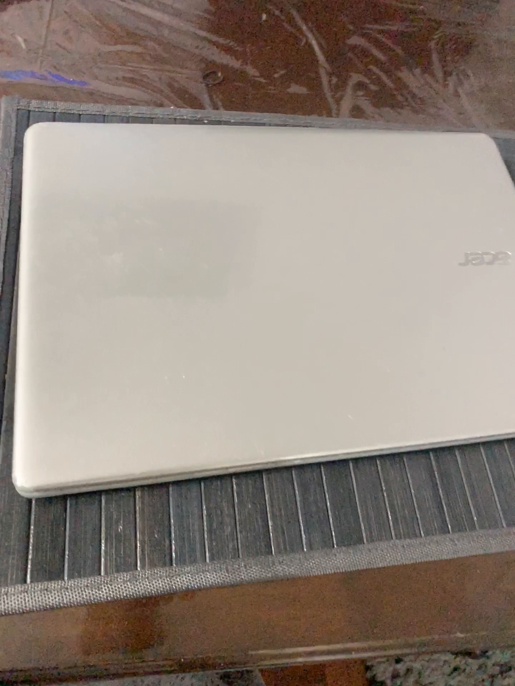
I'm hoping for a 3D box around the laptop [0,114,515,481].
[{"bbox_3d":[0.025,-0.048,0.325,0.335,0.002,0.223,-3,66,-14],"label":"laptop"}]
